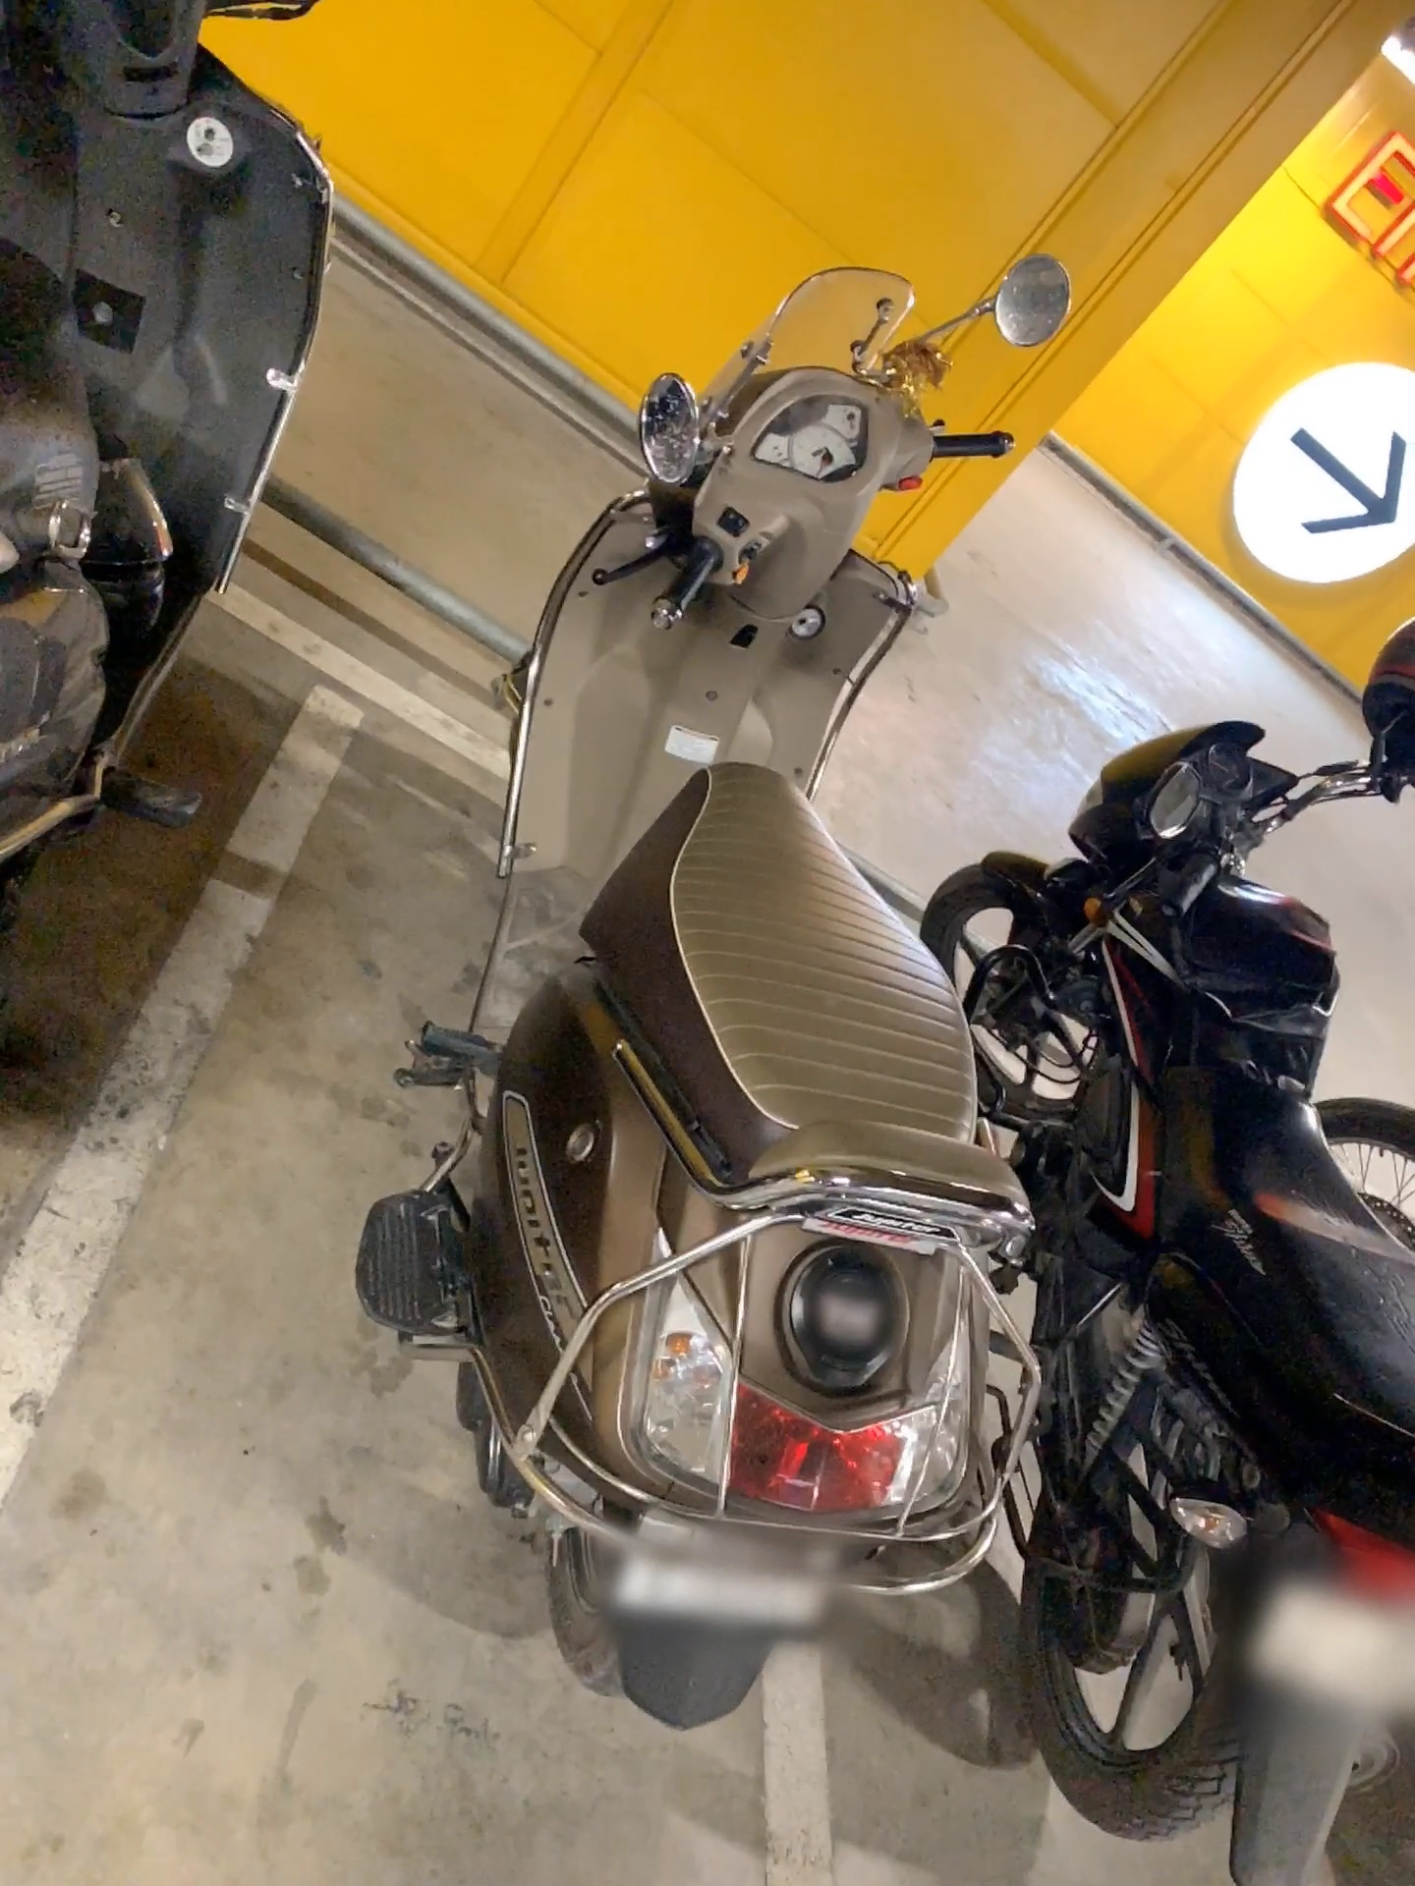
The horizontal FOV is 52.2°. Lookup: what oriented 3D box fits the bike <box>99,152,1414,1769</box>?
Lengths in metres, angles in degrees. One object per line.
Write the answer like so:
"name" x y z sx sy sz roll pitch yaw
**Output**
"bike" -0.110 -0.082 1.687 0.605 1.027 1.559 24 32 -30
